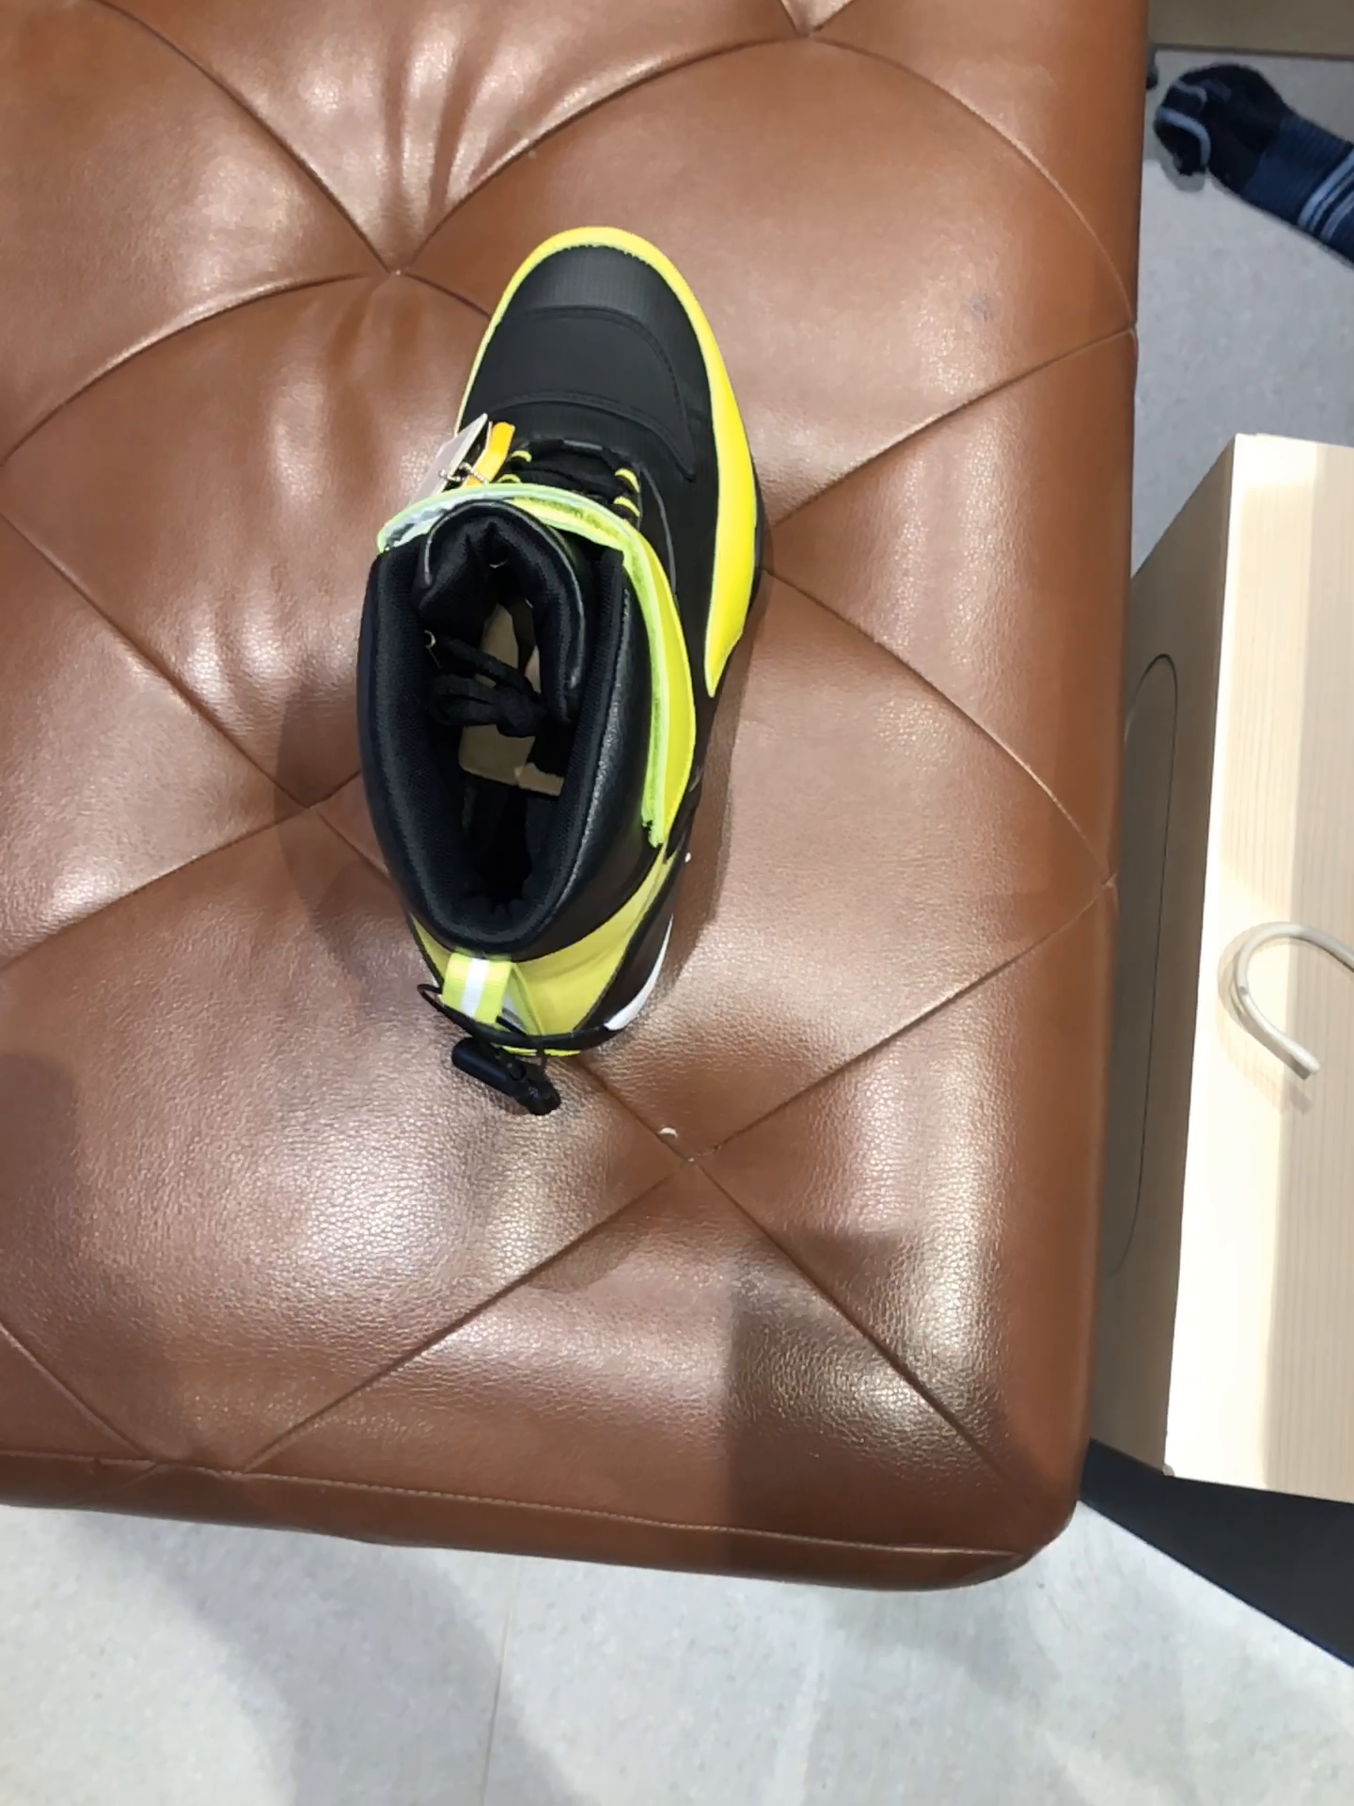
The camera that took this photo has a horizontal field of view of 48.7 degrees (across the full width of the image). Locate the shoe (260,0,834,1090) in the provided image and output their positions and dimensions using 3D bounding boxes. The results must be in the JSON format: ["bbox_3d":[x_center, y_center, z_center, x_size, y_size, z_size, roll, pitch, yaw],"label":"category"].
[{"bbox_3d":[-0.026,-0.094,0.444,0.116,0.173,0.274,3,77,0],"label":"shoe"}]
